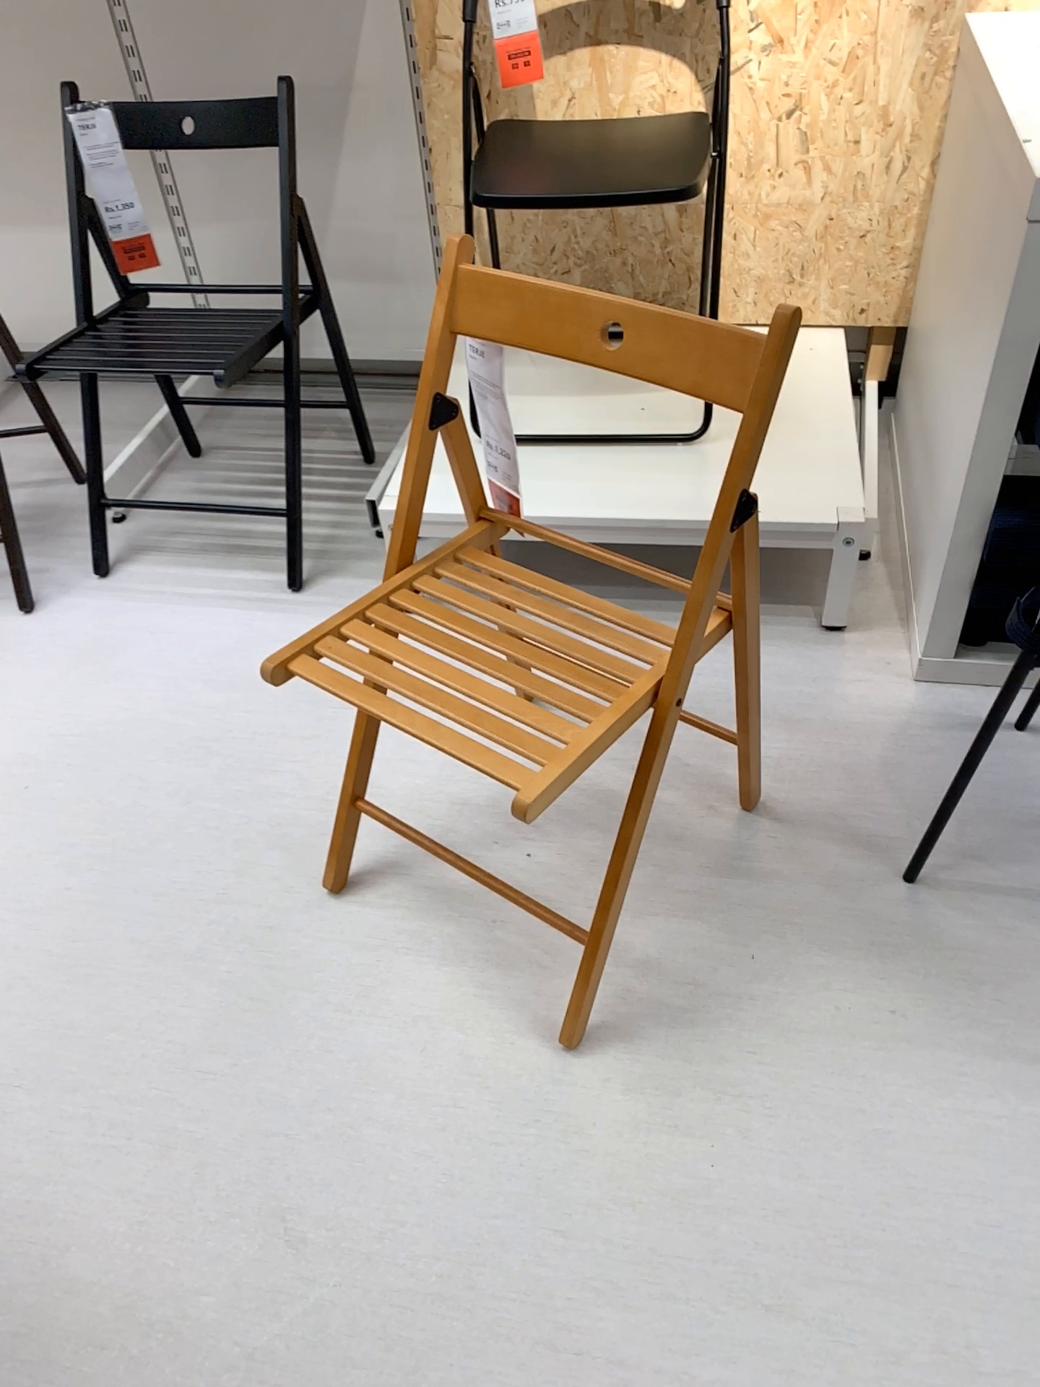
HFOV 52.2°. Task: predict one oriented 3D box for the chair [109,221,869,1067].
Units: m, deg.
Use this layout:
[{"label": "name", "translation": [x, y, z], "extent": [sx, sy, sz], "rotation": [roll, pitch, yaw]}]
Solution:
[{"label": "chair", "translation": [0.007, -0.076, 1.275], "extent": [0.511, 0.697, 0.561], "rotation": [25, 51, 29]}]
